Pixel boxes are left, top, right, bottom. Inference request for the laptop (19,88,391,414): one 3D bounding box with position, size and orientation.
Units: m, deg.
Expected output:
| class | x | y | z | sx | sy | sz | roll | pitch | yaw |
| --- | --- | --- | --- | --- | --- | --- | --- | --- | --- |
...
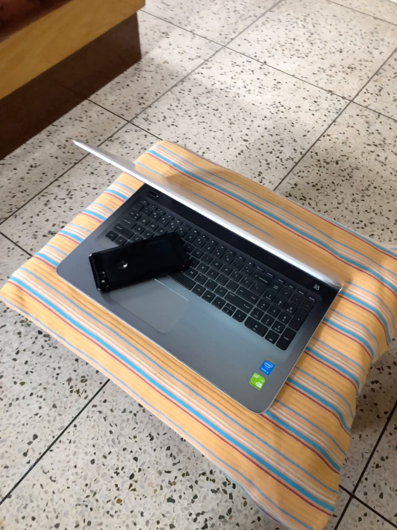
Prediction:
| class | x | y | z | sx | sy | sz | roll | pitch | yaw |
| --- | --- | --- | --- | --- | --- | --- | --- | --- | --- |
| laptop | 0.006 | -0.031 | 0.591 | 0.372 | 0.184 | 0.237 | 31 | 62 | 18 |
